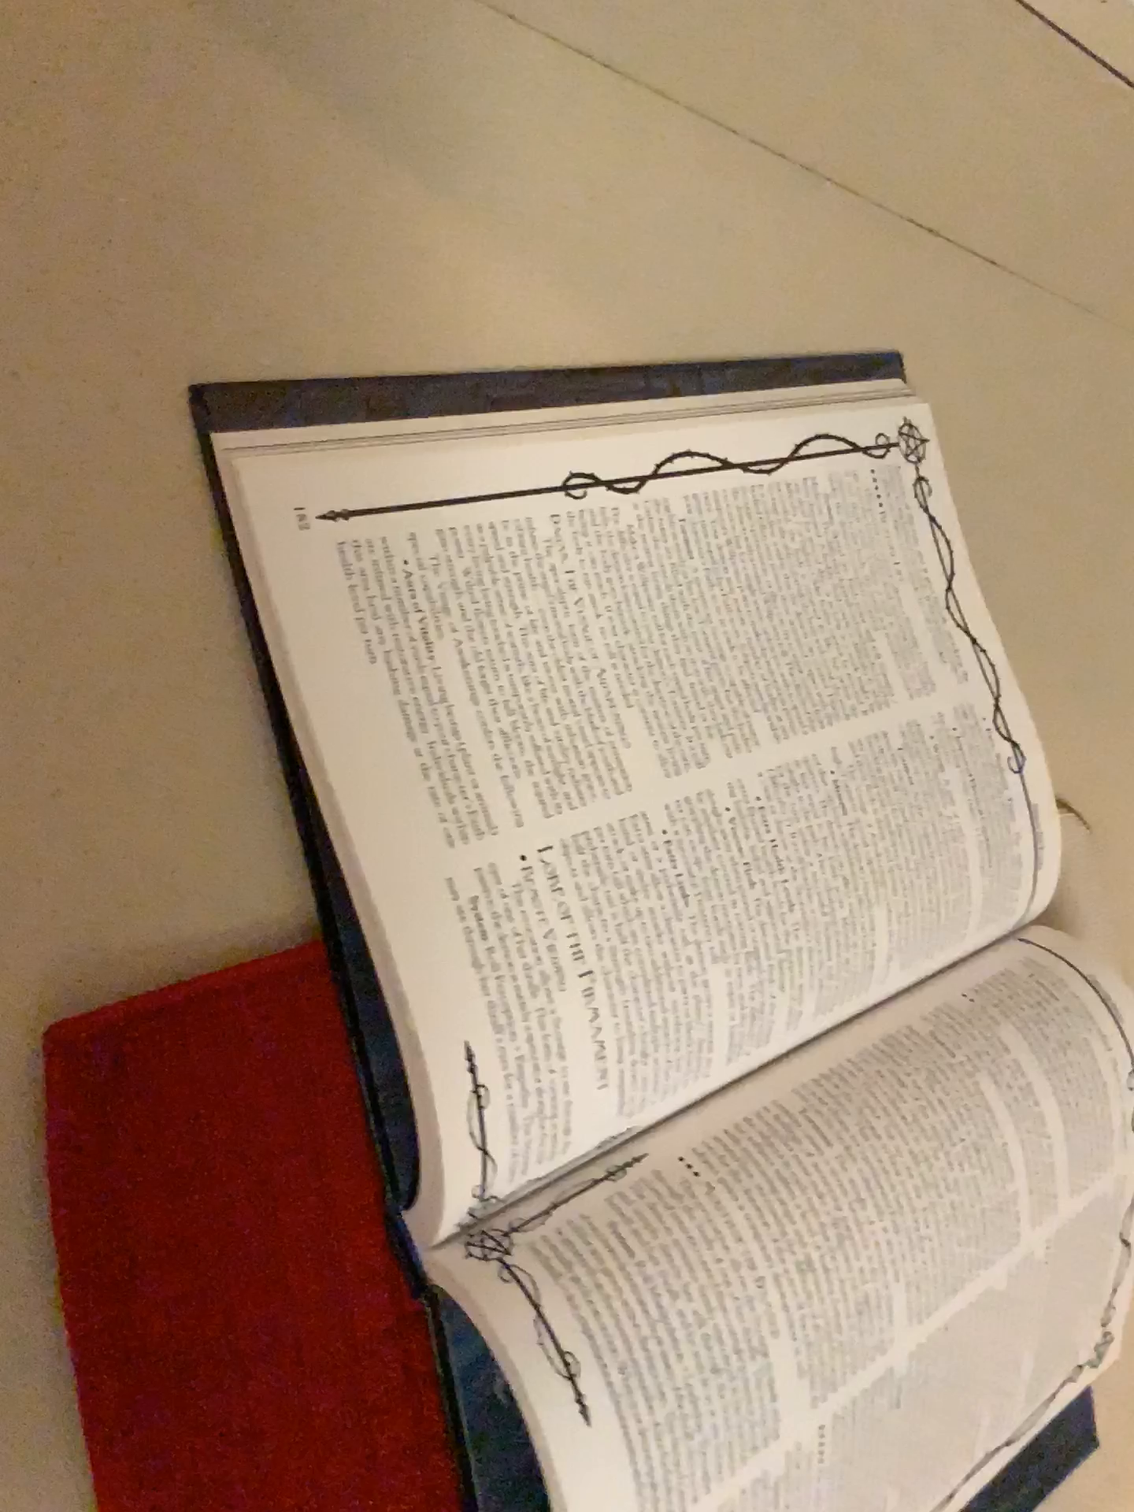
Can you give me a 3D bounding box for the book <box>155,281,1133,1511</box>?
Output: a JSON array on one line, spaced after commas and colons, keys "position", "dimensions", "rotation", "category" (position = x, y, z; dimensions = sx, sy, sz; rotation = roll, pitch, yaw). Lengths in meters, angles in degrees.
[{"position": [0.075, 0.090, 0.407], "dimensions": [0.290, 0.060, 0.450], "rotation": [-18, 99, -36], "category": "book"}]
